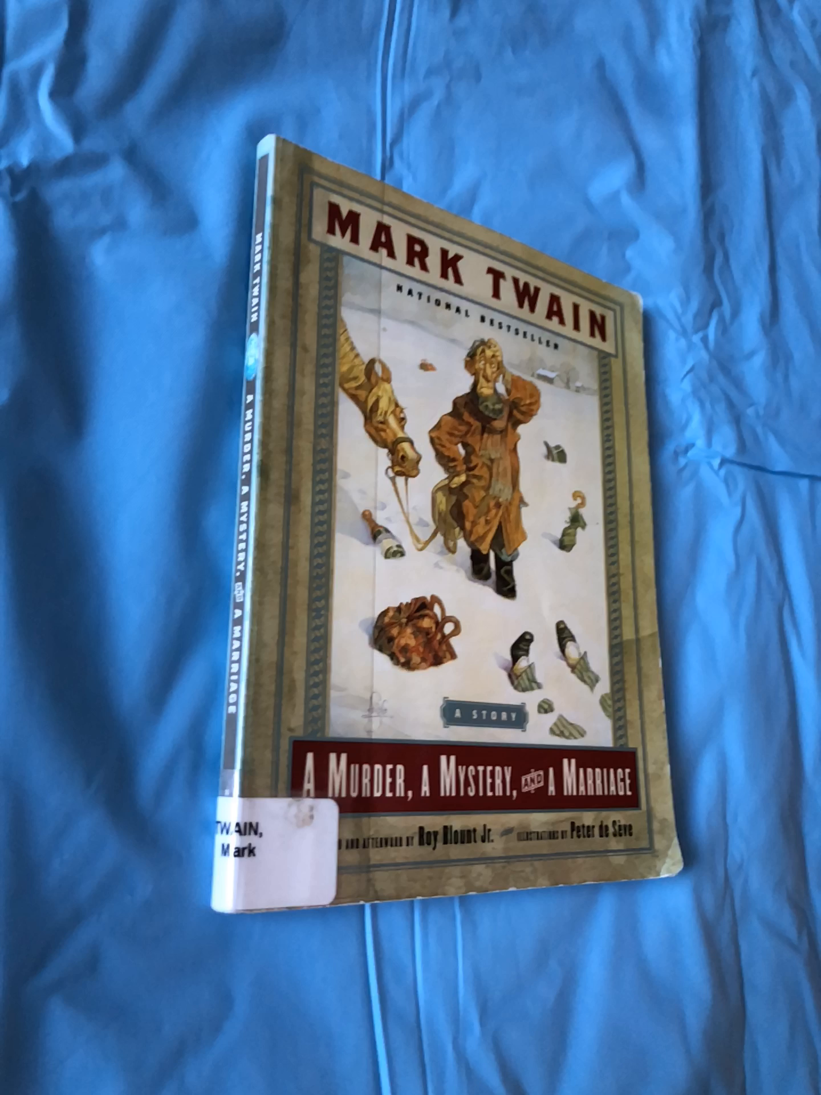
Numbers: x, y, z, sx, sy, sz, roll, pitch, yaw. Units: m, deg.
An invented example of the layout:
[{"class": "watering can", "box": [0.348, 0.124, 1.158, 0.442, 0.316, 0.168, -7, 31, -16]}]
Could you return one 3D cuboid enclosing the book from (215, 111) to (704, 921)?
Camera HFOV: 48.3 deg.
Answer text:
[{"class": "book", "box": [0.024, -0.005, 0.282, 0.161, 0.020, 0.210, 10, 73, -35]}]
